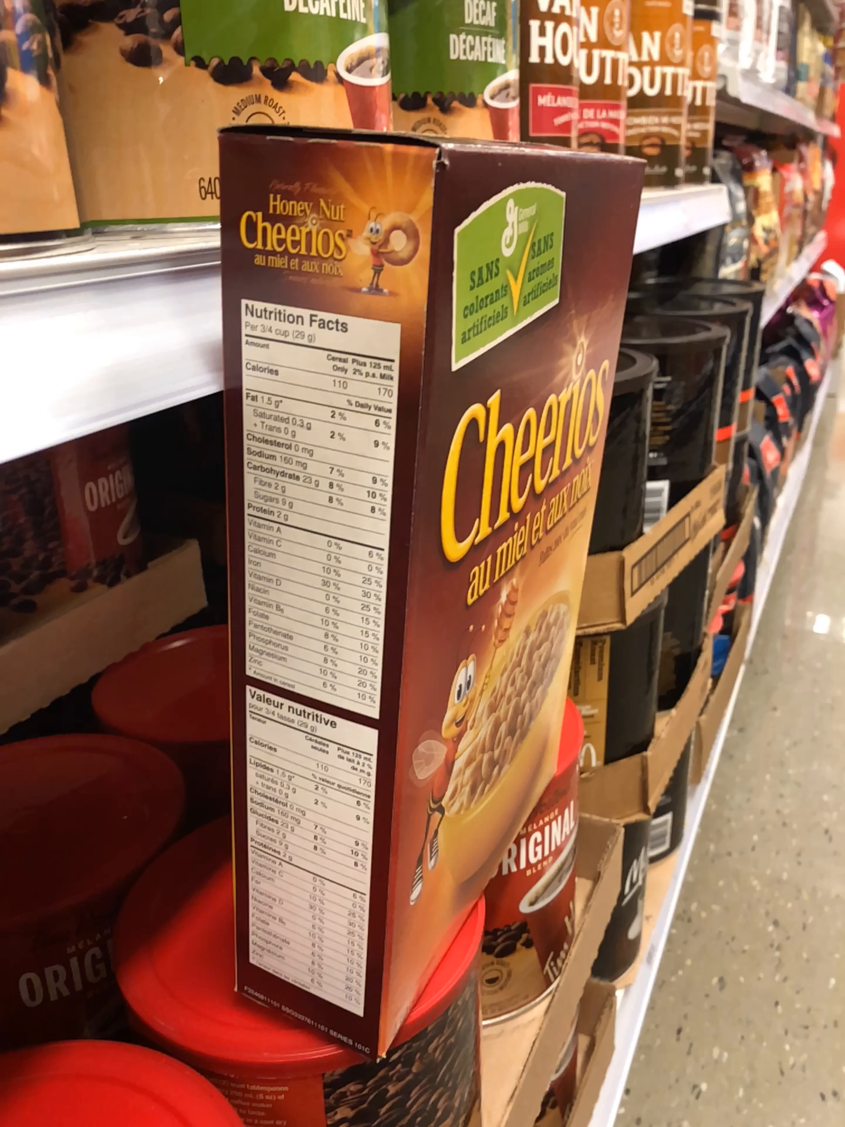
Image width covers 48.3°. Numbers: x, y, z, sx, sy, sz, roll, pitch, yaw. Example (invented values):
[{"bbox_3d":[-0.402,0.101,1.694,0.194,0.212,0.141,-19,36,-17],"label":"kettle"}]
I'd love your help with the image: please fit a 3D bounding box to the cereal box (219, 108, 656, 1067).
[{"bbox_3d":[0.012,-0.004,0.355,0.060,0.289,0.201,14,25,22],"label":"cereal box"}]
